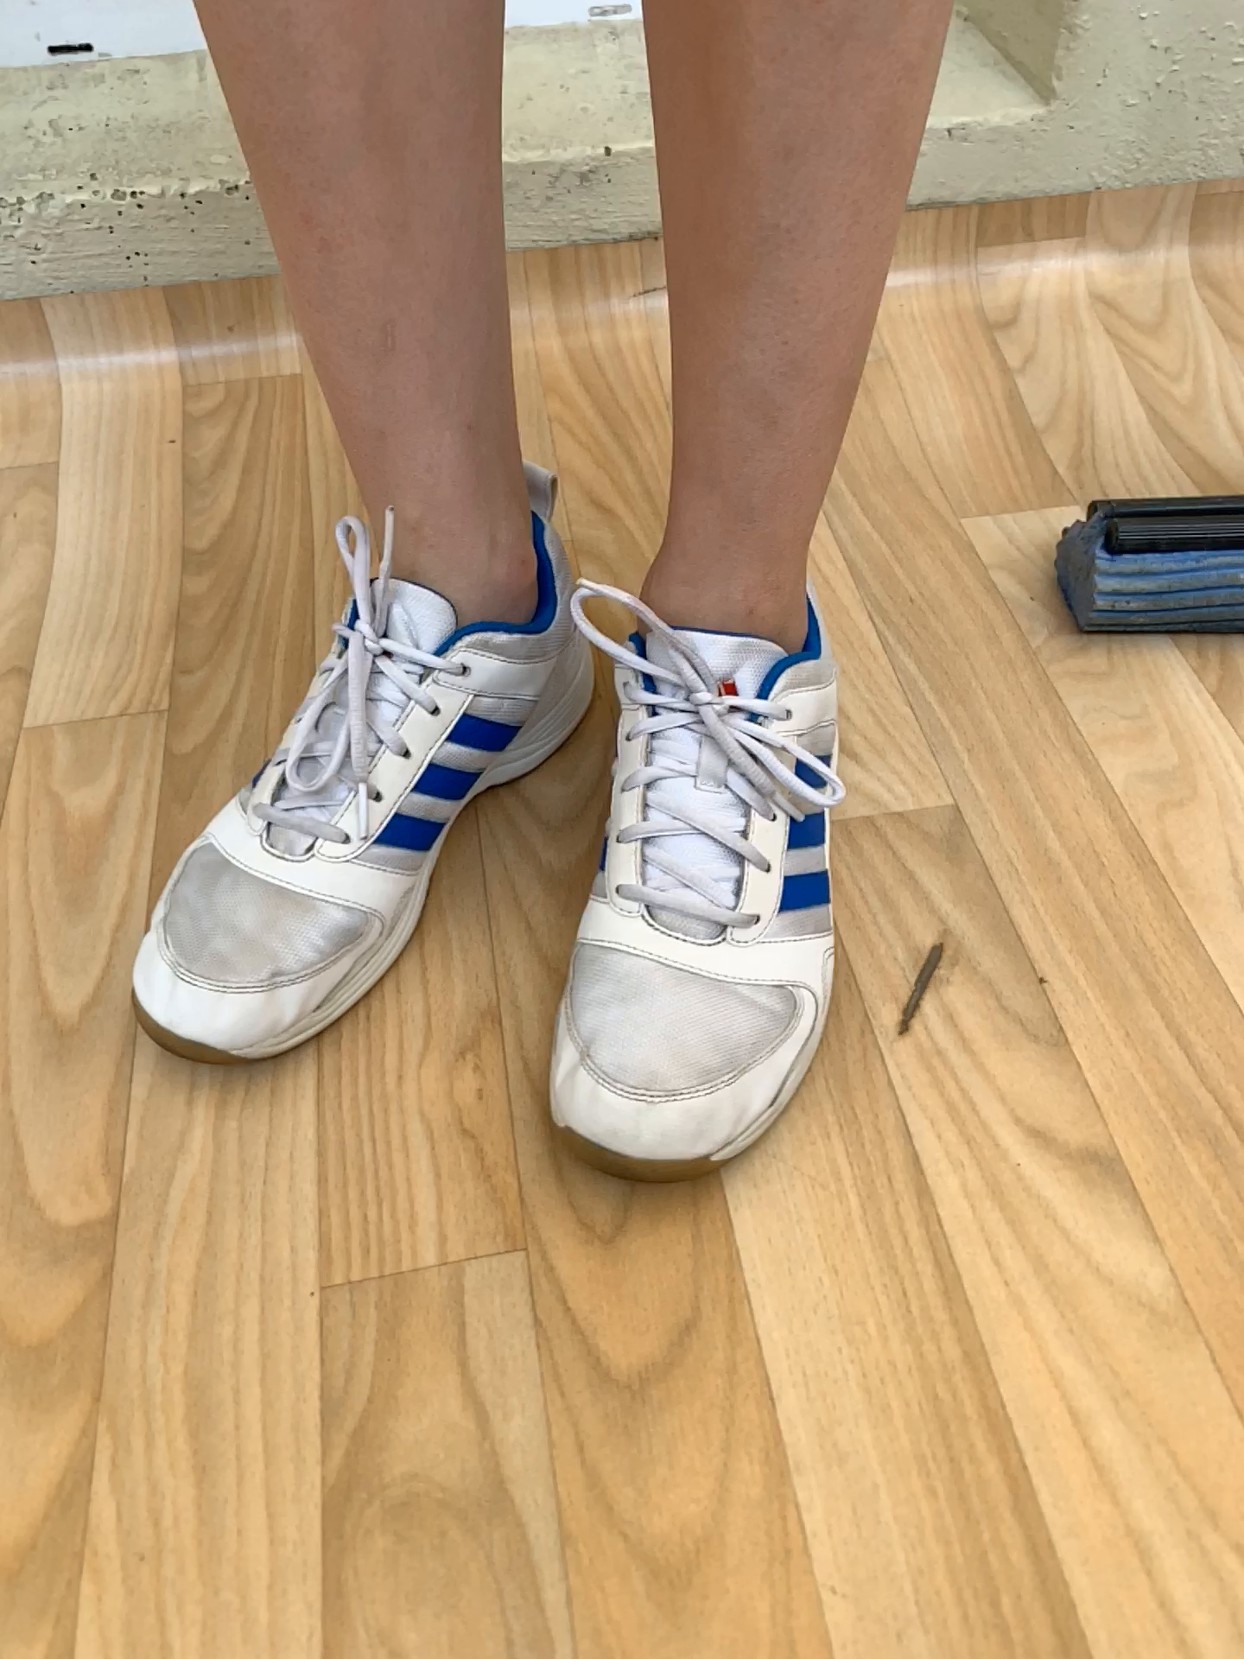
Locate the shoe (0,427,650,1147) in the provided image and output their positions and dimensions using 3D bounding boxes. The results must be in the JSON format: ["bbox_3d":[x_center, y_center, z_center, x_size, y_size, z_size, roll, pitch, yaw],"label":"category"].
[{"bbox_3d":[-0.100,-0.030,0.496,0.100,0.120,0.261,25,52,22],"label":"shoe"}]

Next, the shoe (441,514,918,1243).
[{"bbox_3d":[0.034,0.000,0.473,0.100,0.090,0.261,12,48,12],"label":"shoe"}]
